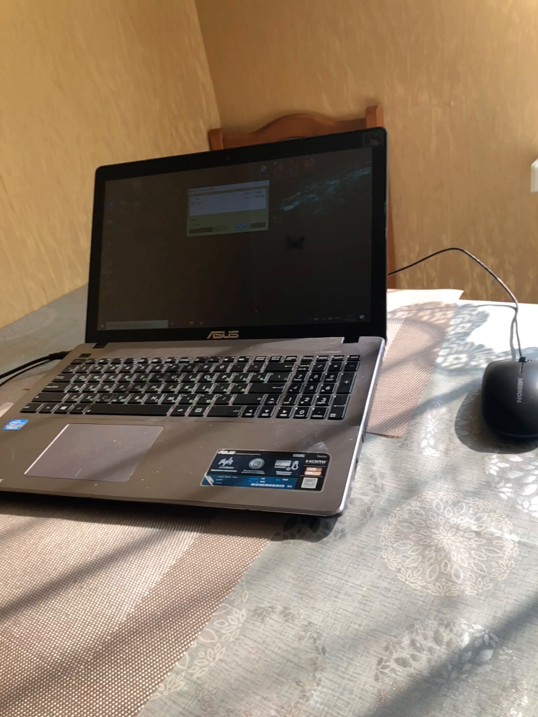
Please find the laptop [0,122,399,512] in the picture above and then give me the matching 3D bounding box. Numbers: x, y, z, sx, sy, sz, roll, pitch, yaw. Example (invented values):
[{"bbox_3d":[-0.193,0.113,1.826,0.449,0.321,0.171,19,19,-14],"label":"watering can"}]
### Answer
[{"bbox_3d":[-0.088,-0.075,0.598,0.378,0.183,0.399,-1,31,20],"label":"laptop"}]
